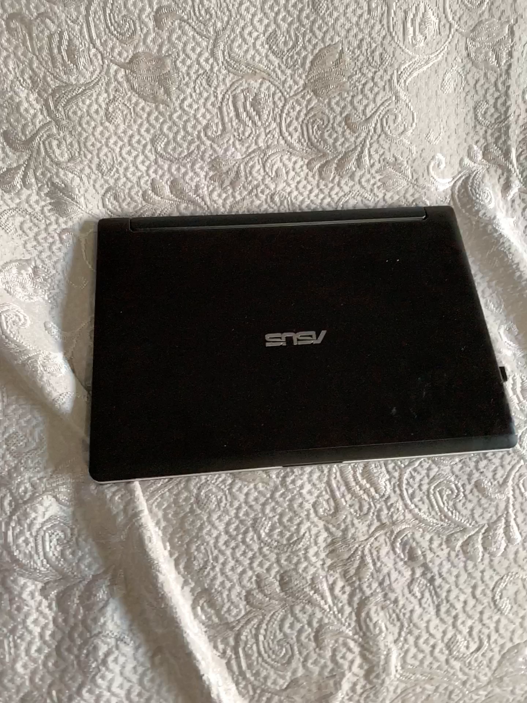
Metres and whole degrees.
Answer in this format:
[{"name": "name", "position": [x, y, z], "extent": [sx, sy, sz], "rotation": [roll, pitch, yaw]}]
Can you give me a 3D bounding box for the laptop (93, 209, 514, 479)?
[{"name": "laptop", "position": [0.029, -0.022, 0.465], "extent": [0.333, 0.001, 0.232], "rotation": [-3, 68, -7]}]
